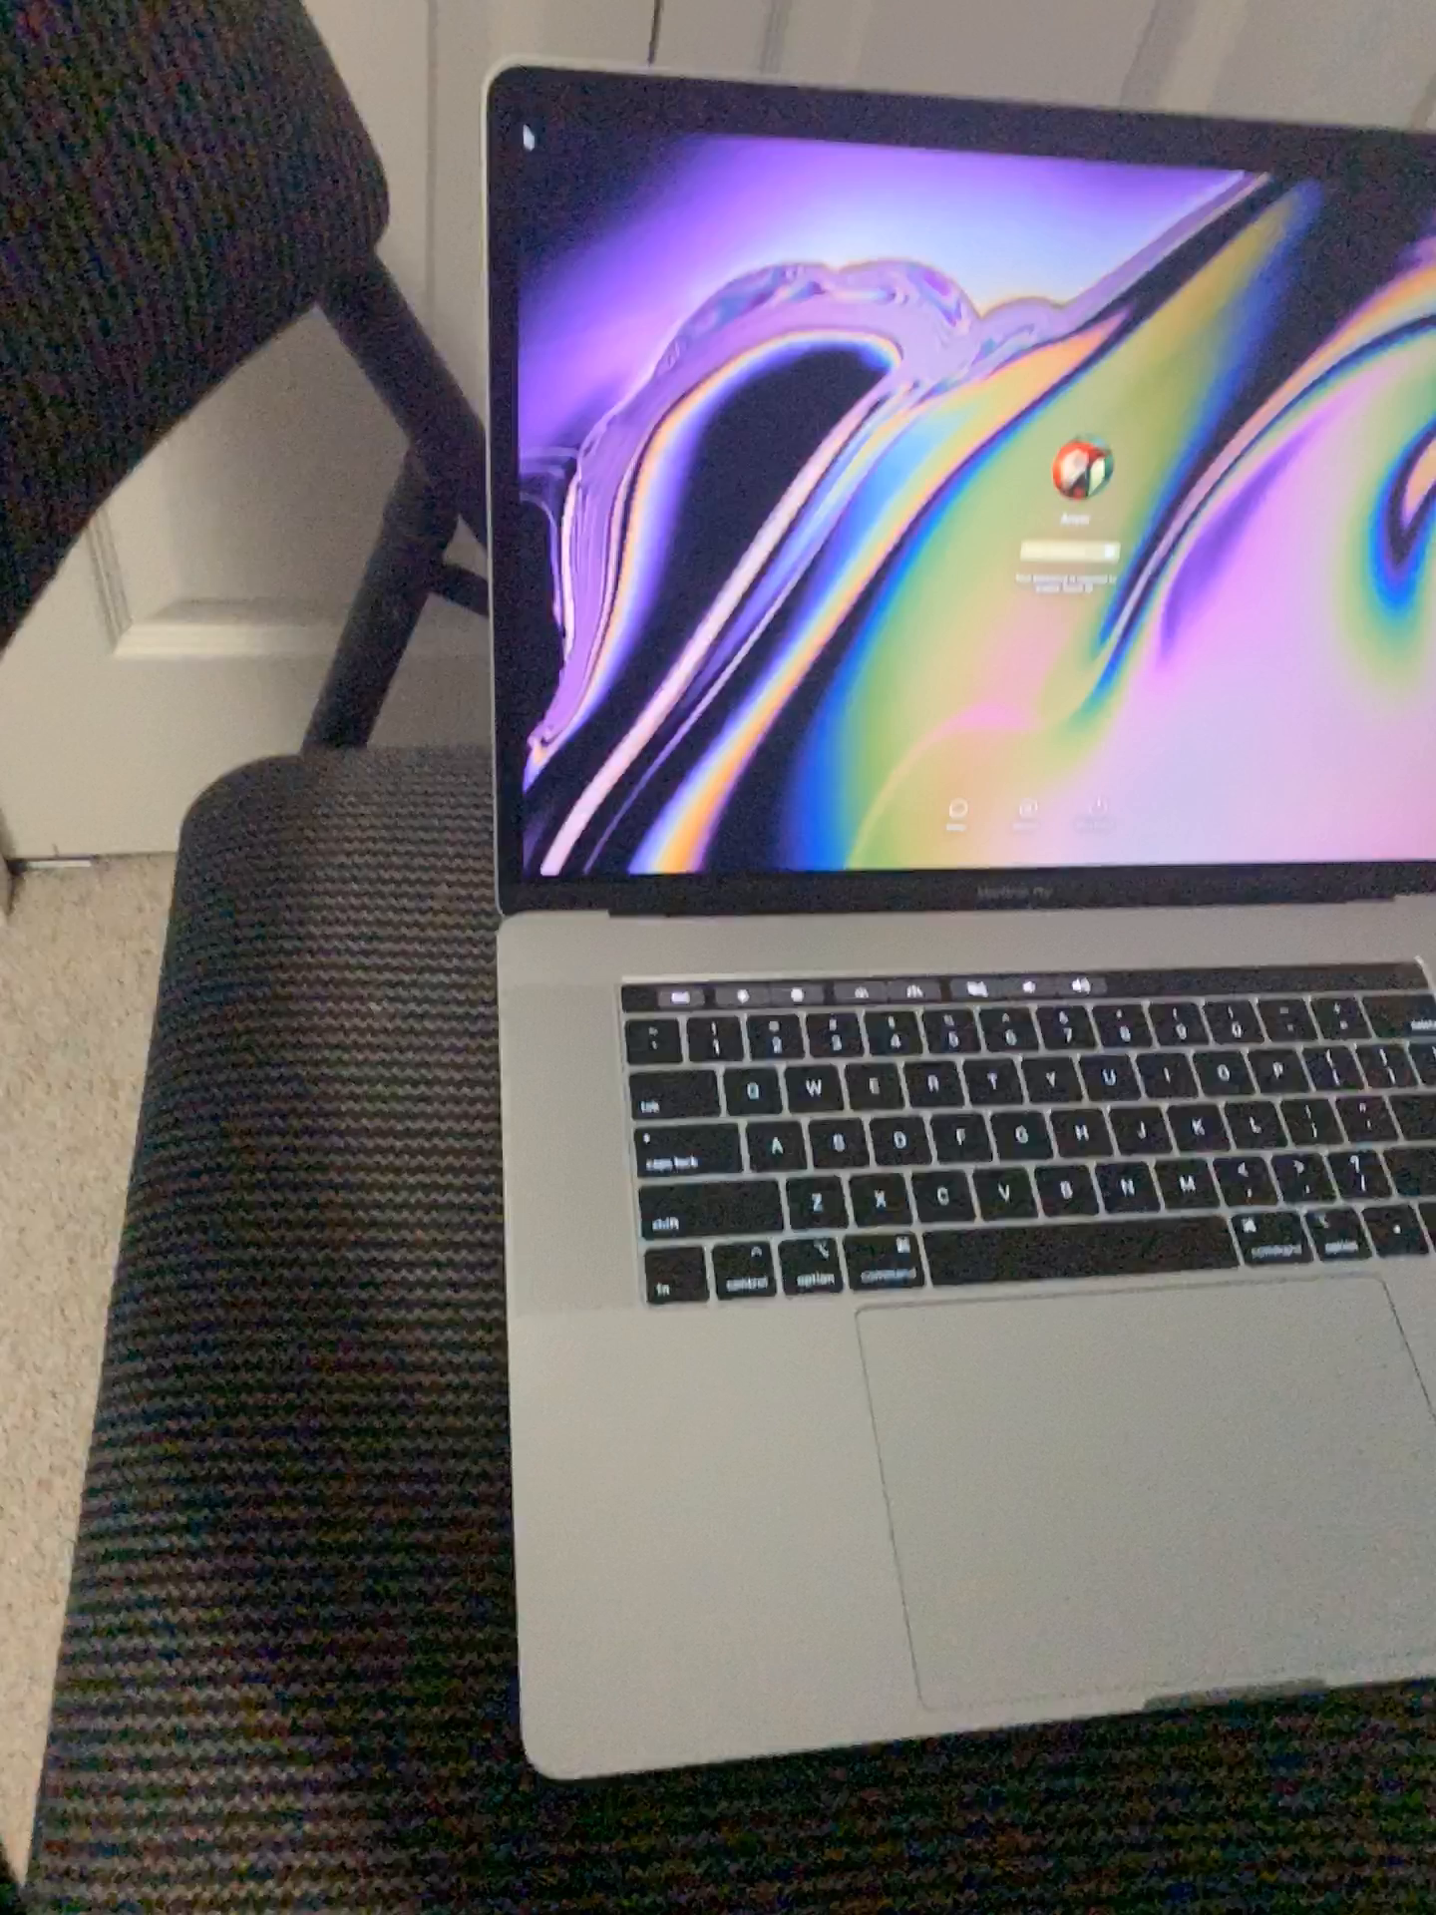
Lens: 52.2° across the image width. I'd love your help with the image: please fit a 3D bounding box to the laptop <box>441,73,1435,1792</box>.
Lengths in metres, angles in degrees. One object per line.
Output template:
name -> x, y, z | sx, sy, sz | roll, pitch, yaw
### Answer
laptop -> 0.108, -0.018, 0.369 | 0.342, 0.195, 0.353 | -1, 56, -10
